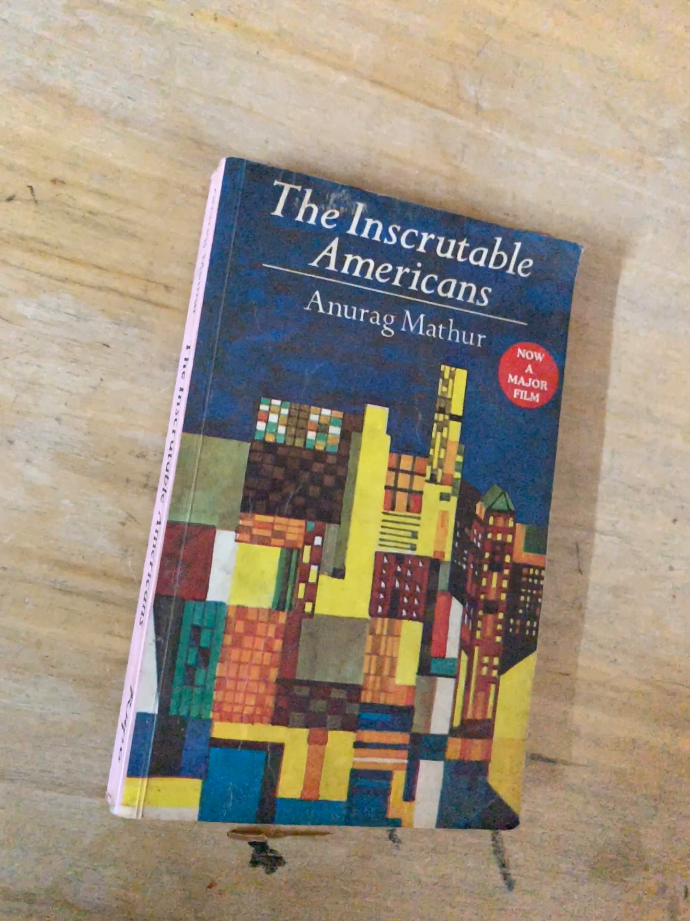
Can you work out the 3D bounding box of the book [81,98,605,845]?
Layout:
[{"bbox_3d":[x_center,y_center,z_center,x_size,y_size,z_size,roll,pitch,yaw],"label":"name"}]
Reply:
[{"bbox_3d":[0.005,0.007,0.203,0.120,0.030,0.180,9,83,-15],"label":"book"}]
